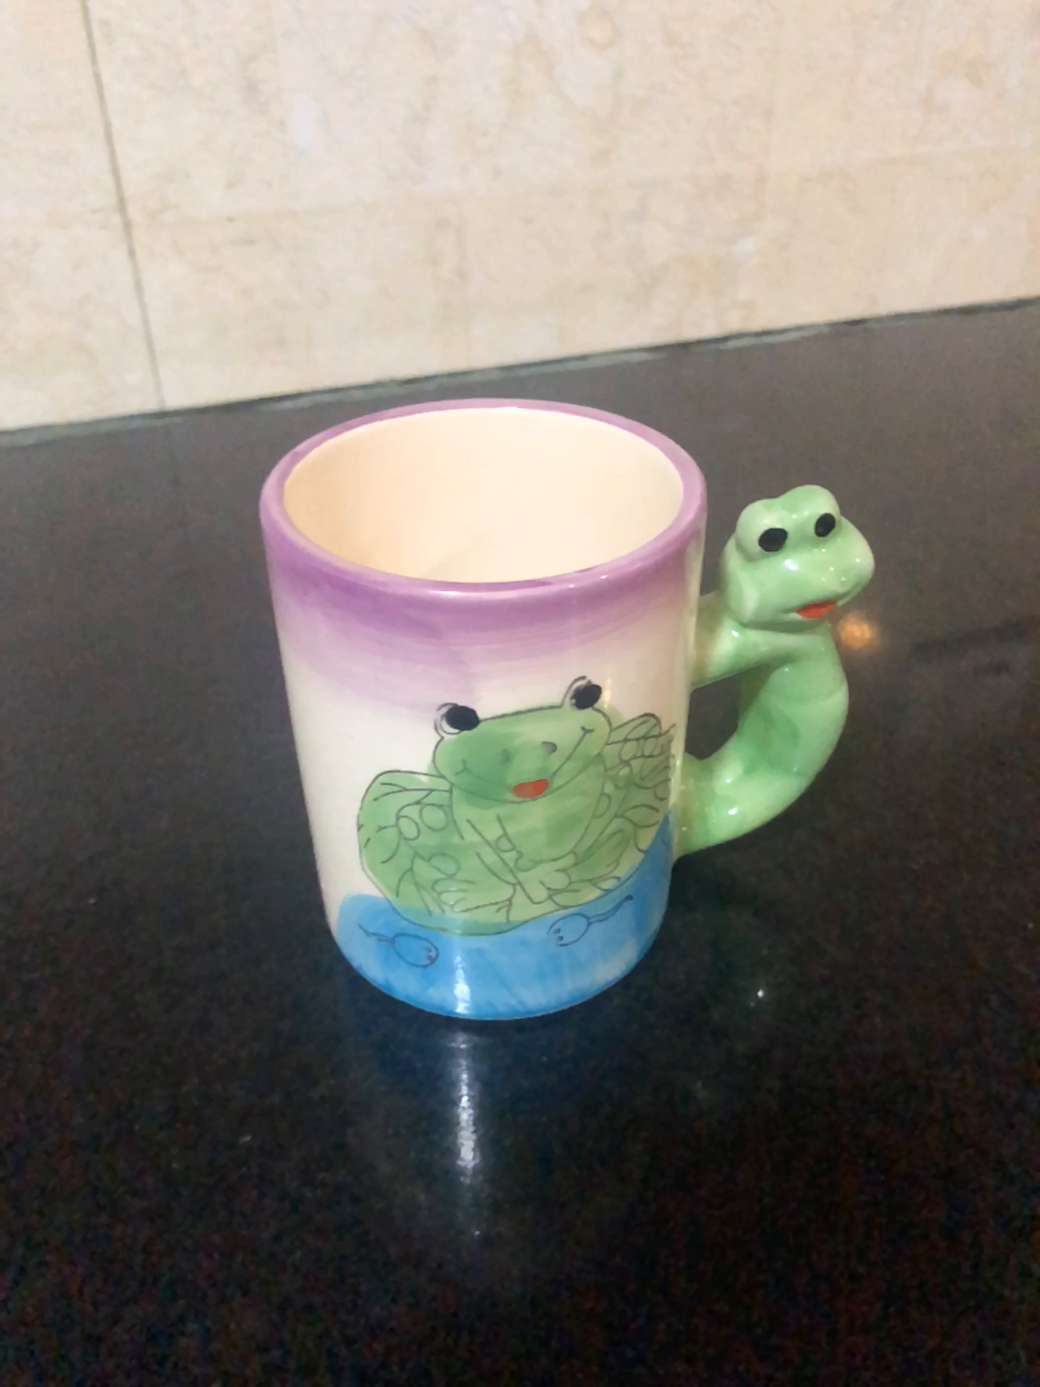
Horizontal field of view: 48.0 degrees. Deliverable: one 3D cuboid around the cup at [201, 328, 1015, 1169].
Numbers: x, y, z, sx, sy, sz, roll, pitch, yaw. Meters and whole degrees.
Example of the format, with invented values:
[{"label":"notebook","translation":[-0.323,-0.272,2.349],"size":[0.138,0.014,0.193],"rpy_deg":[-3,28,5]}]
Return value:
[{"label":"cup","translation":[0.013,0.004,0.226],"size":[0.110,0.109,0.080],"rpy_deg":[-17,38,-22]}]
